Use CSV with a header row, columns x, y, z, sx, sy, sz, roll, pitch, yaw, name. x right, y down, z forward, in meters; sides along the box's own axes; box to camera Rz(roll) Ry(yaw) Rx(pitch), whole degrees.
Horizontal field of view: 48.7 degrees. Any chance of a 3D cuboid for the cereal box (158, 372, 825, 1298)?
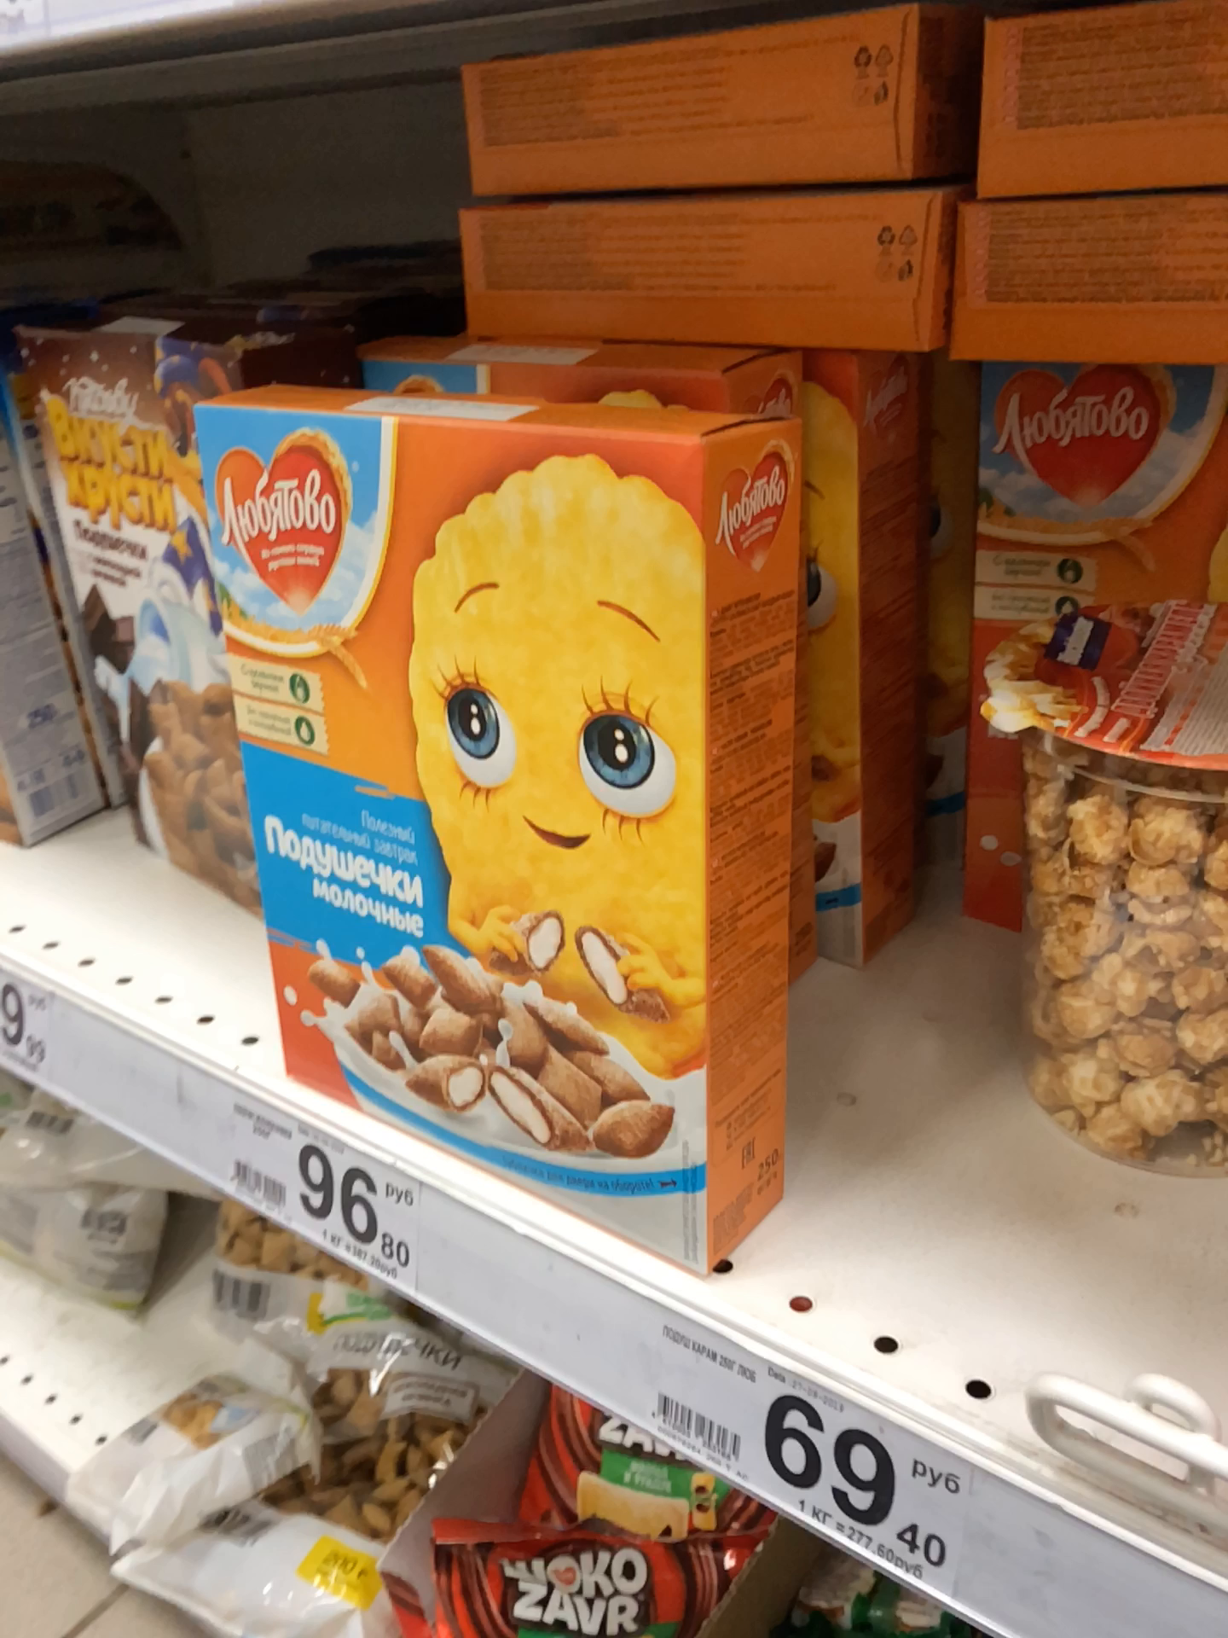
x,y,z,sx,sy,sz,roll,pitch,yaw,name
-0.035,-0.003,0.391,0.180,0.229,0.050,15,29,33,cereal box
